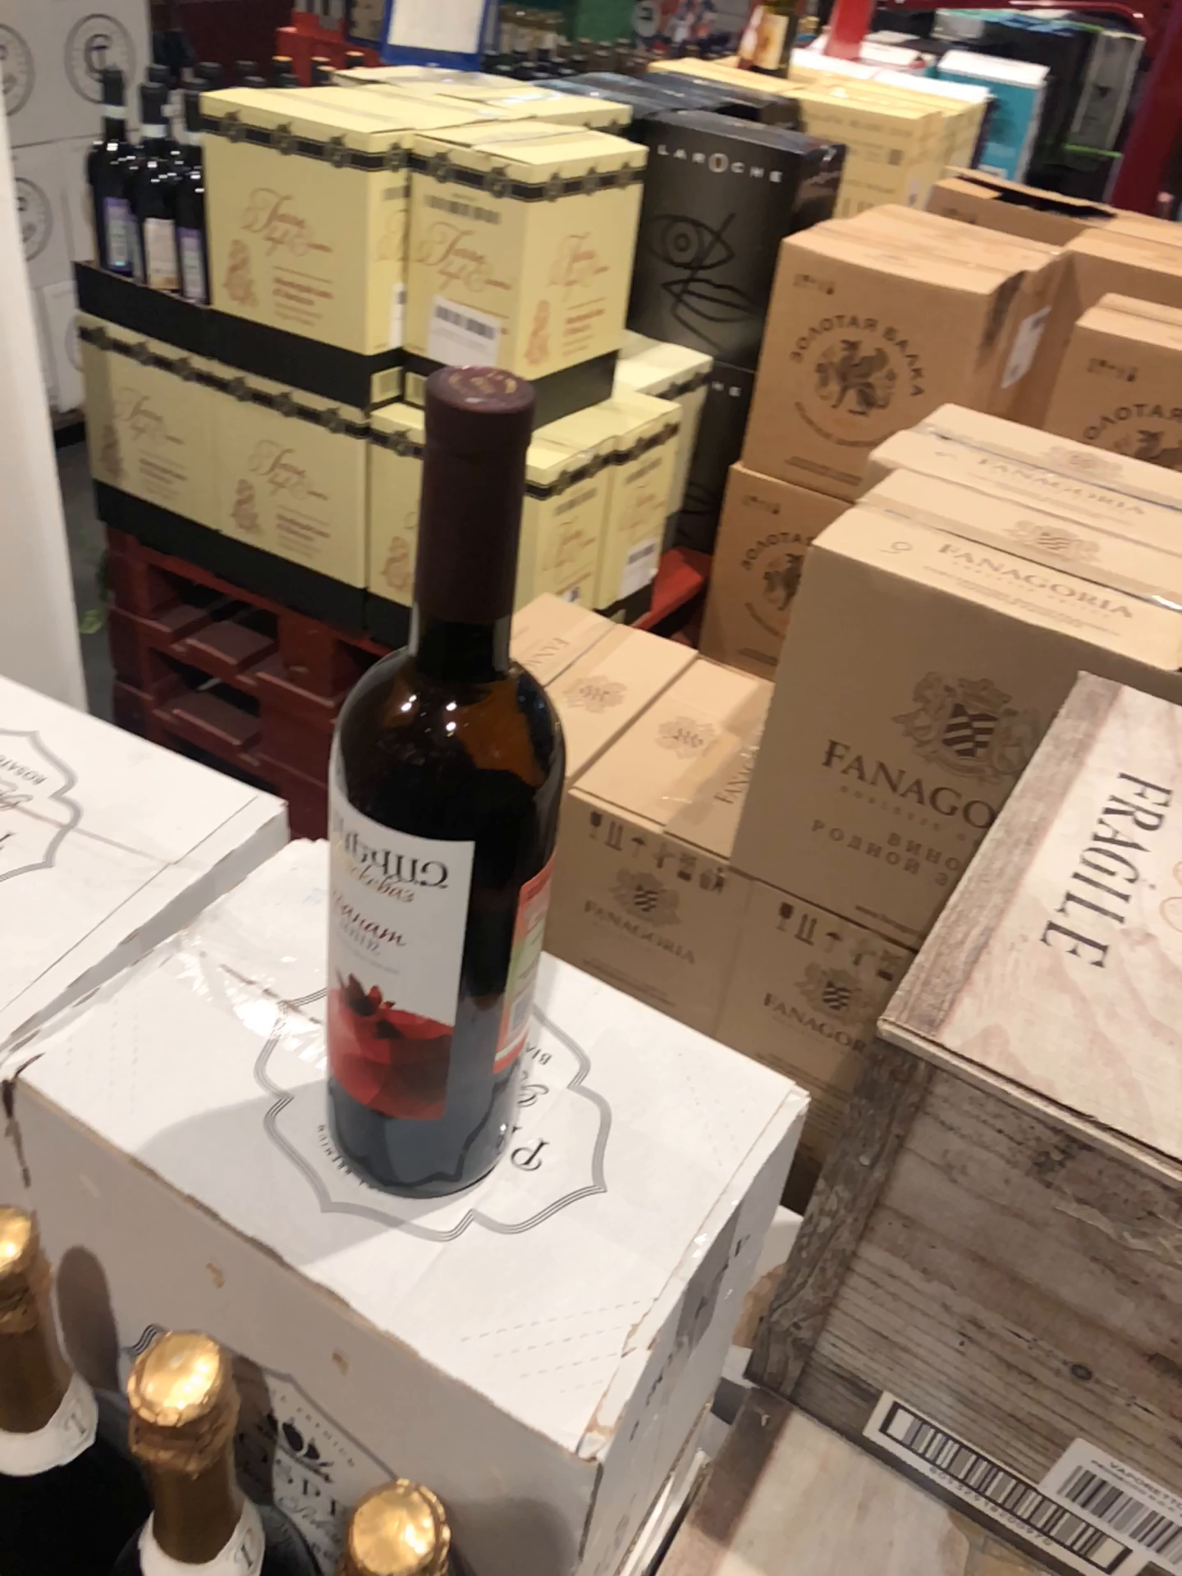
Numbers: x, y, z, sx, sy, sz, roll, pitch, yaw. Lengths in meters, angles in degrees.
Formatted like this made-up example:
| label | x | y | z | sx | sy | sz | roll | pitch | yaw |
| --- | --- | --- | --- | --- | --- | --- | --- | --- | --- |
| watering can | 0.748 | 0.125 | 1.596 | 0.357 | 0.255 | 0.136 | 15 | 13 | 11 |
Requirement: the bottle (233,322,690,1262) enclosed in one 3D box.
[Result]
| label | x | y | z | sx | sy | sz | roll | pitch | yaw |
| --- | --- | --- | --- | --- | --- | --- | --- | --- | --- |
| bottle | -0.050 | 0.016 | 0.431 | 0.090 | 0.298 | 0.080 | 31 | 42 | 28 |
